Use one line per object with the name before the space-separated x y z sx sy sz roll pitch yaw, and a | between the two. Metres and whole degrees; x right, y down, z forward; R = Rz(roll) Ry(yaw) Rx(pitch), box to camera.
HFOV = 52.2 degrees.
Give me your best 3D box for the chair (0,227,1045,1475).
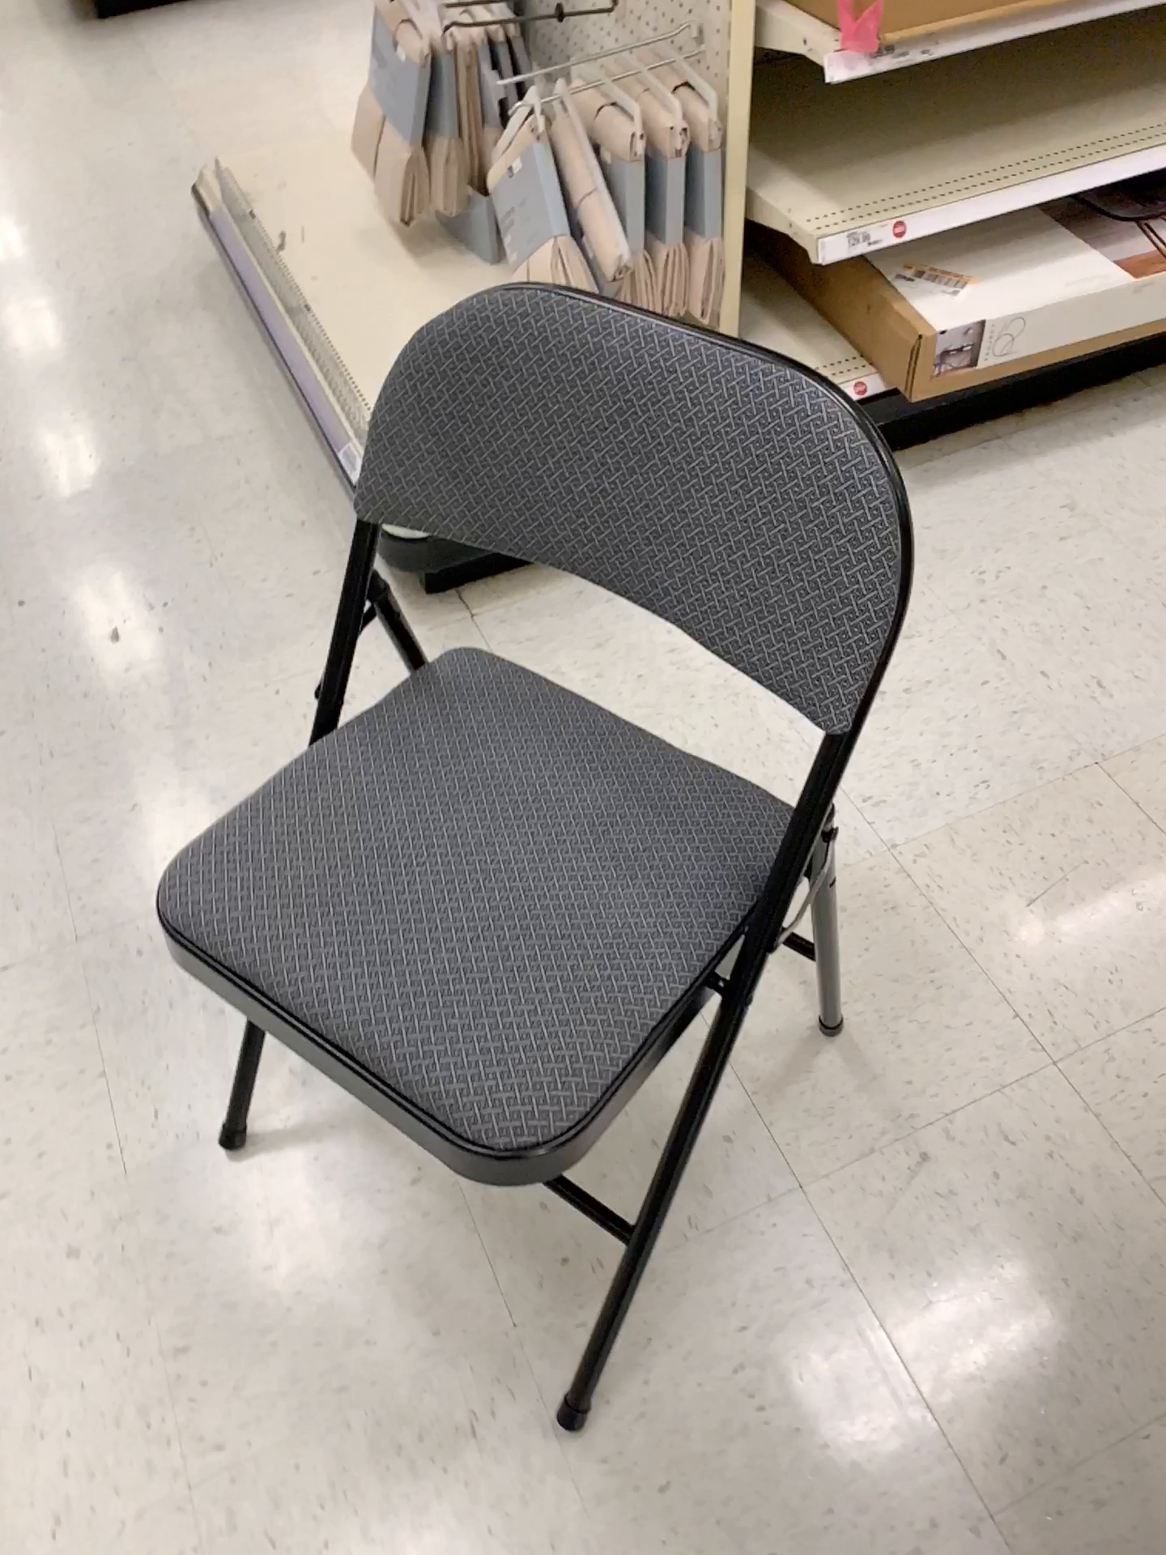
chair | -0.065 0.070 0.950 0.501 0.677 0.551 28 57 24
